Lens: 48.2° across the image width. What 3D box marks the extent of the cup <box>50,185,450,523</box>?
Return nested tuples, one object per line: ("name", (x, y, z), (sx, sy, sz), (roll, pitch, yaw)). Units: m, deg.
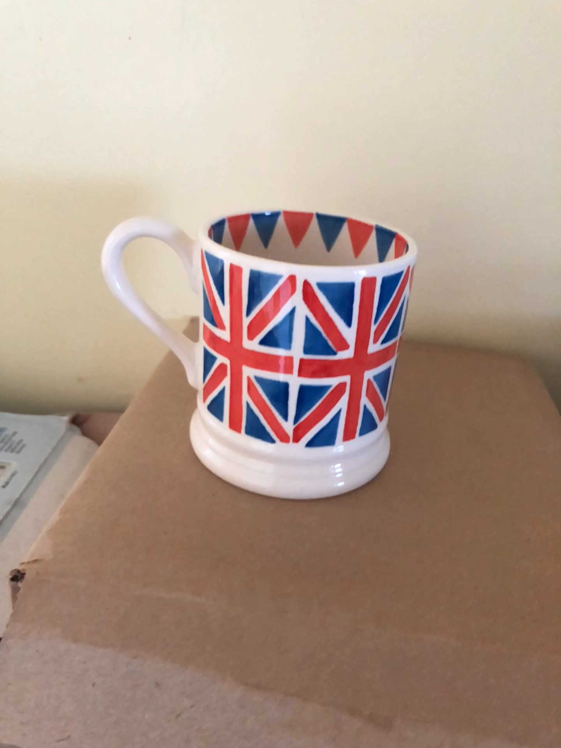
("cup", (-0.006, -0.016, 0.267), (0.130, 0.099, 0.101), (5, 27, 7))
